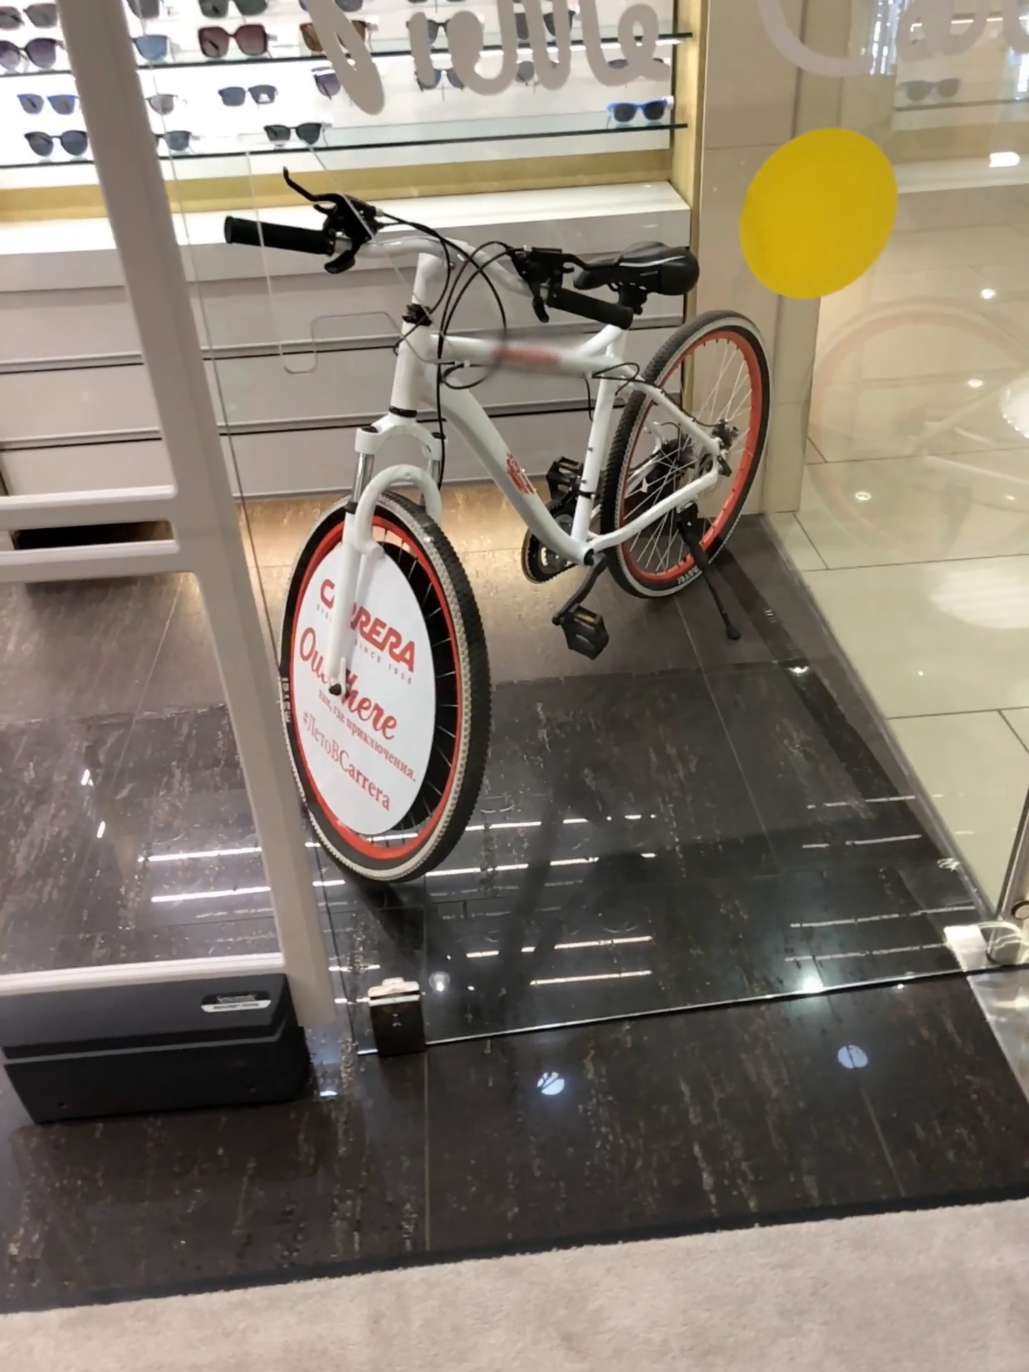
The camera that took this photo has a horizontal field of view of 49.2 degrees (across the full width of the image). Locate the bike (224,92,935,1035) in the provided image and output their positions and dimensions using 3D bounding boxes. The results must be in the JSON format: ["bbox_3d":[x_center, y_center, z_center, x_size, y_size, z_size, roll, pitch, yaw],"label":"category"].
[{"bbox_3d":[0.231,-0.362,1.992,0.593,0.947,1.387,14,41,25],"label":"bike"}]
